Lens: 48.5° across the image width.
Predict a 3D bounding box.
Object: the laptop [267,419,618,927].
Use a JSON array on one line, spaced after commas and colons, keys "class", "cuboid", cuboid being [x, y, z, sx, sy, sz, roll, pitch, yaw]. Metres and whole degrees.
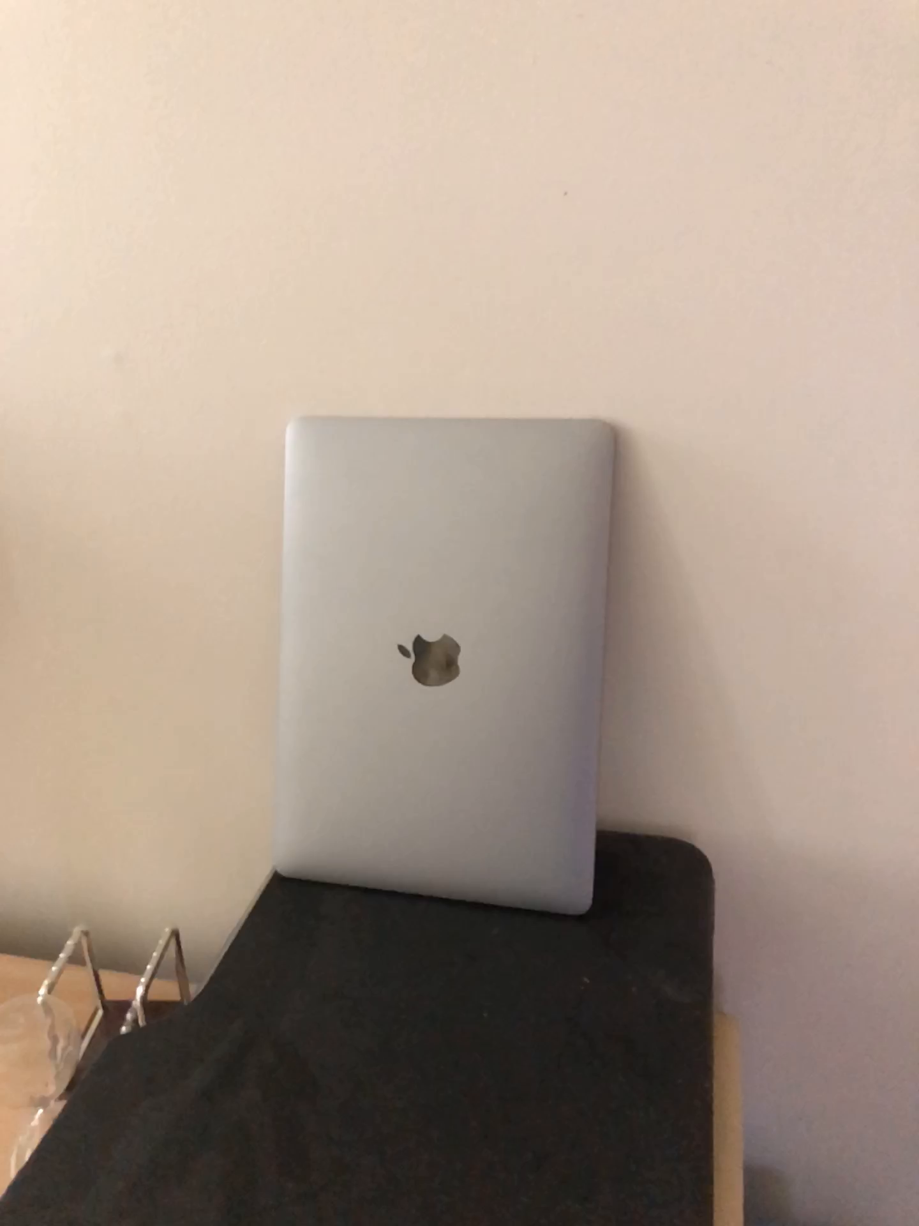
[{"class": "laptop", "cuboid": [-0.015, 0.030, 0.585, 0.196, 0.275, 0.002, 3, 3, 14]}]
